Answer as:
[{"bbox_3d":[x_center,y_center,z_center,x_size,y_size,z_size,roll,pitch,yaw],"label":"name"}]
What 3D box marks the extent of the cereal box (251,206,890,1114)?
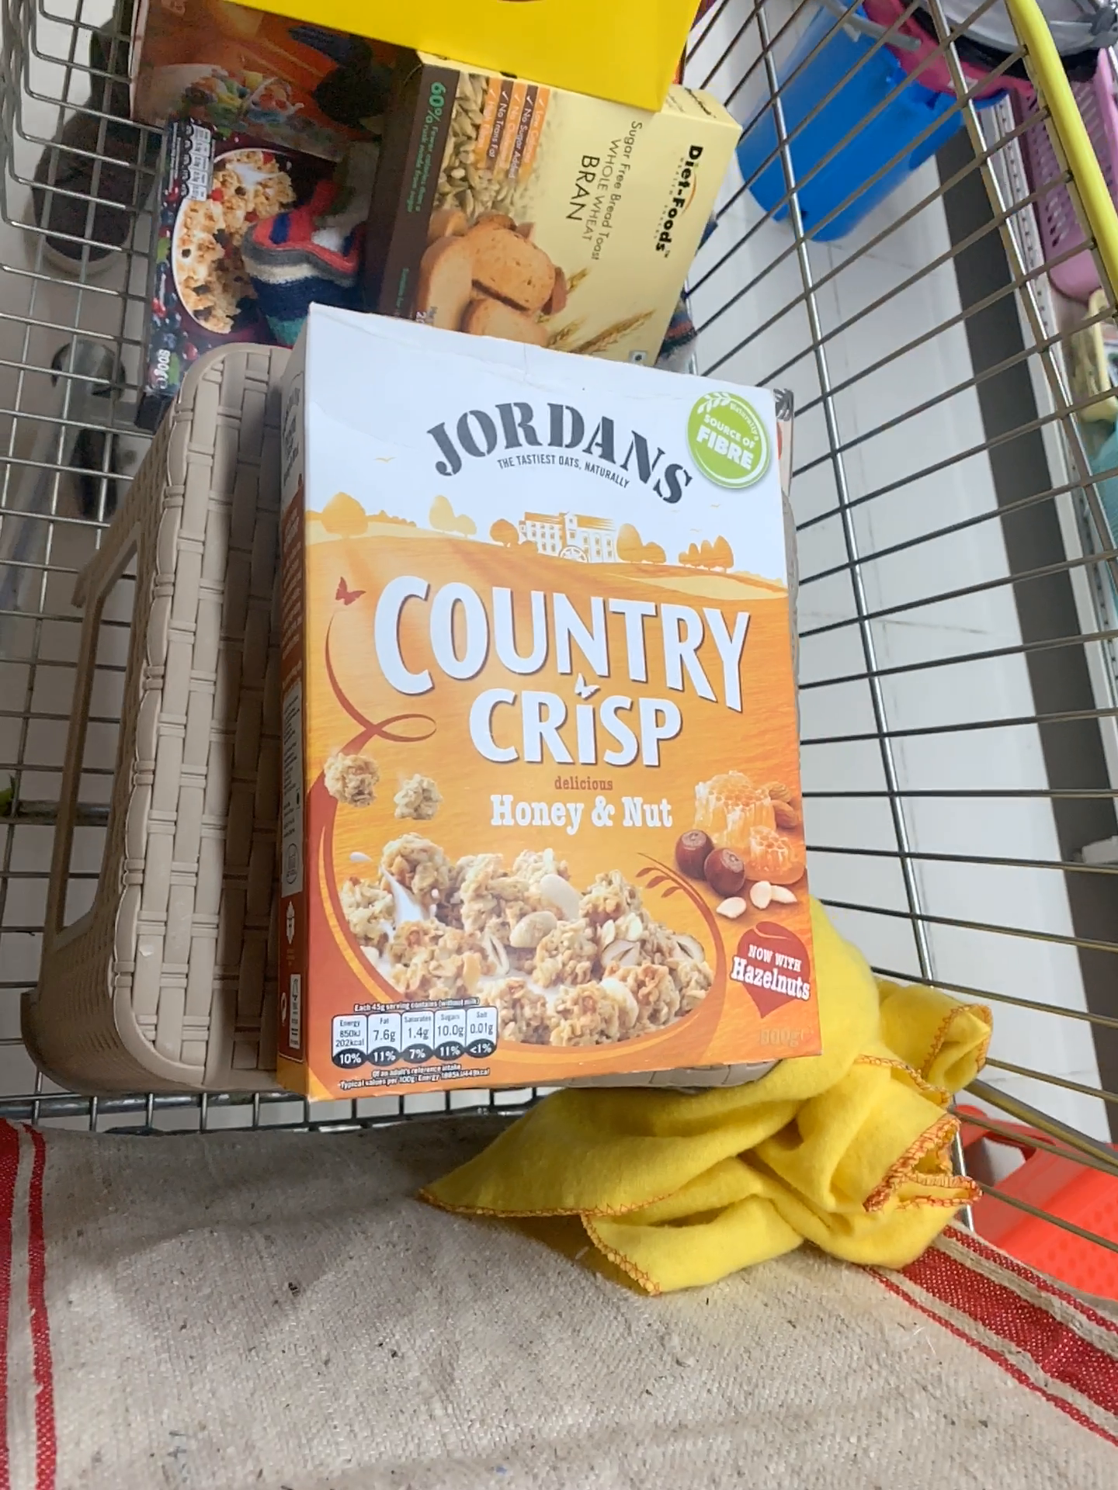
[{"bbox_3d":[0.001,-0.021,0.394,0.190,0.080,0.260,3,78,-25],"label":"cereal box"}]
